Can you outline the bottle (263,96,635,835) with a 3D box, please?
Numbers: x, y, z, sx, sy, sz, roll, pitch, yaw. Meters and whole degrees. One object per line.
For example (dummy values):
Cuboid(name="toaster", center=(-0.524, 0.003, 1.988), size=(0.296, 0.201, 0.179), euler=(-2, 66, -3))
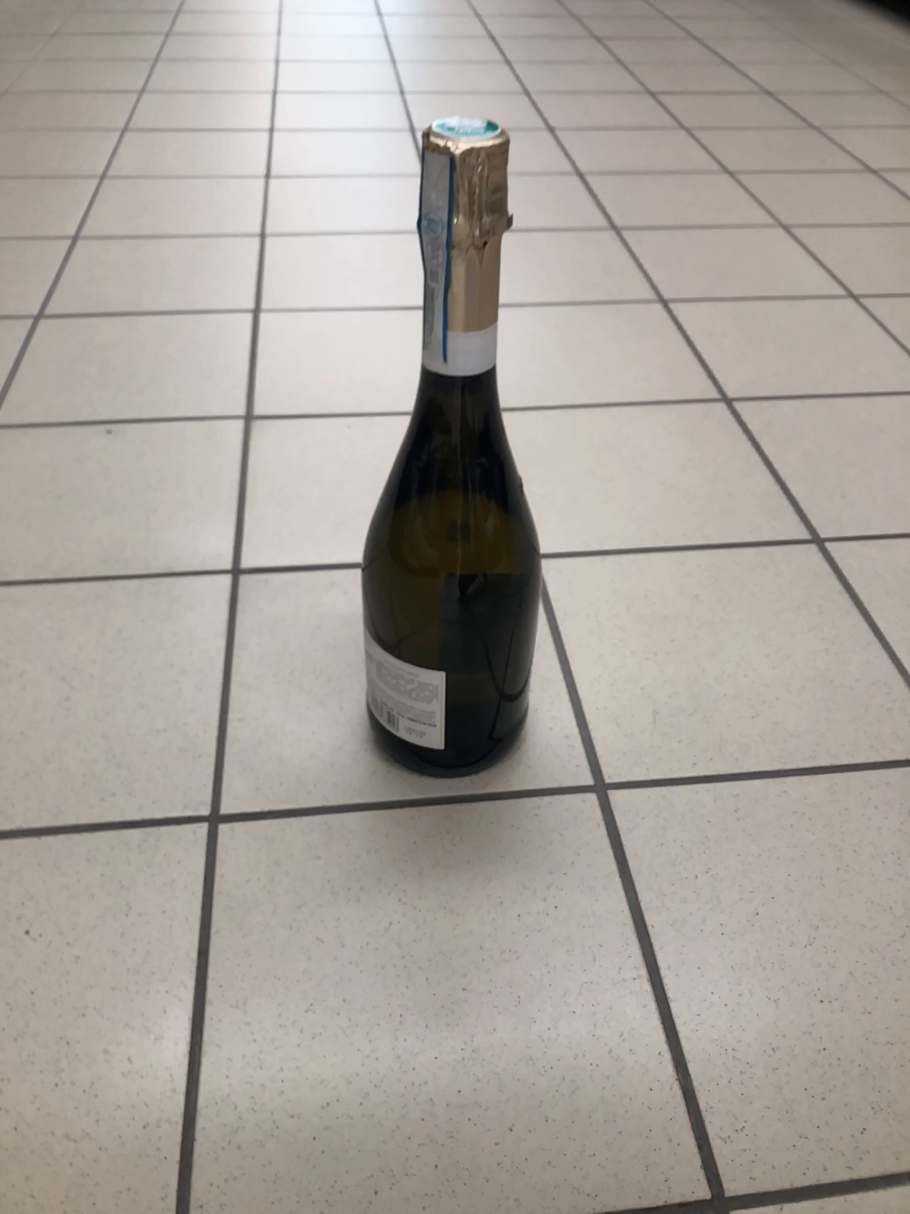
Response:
Cuboid(name="bottle", center=(-0.007, -0.048, 0.459), size=(0.091, 0.308, 0.100), euler=(-31, 49, -34))
